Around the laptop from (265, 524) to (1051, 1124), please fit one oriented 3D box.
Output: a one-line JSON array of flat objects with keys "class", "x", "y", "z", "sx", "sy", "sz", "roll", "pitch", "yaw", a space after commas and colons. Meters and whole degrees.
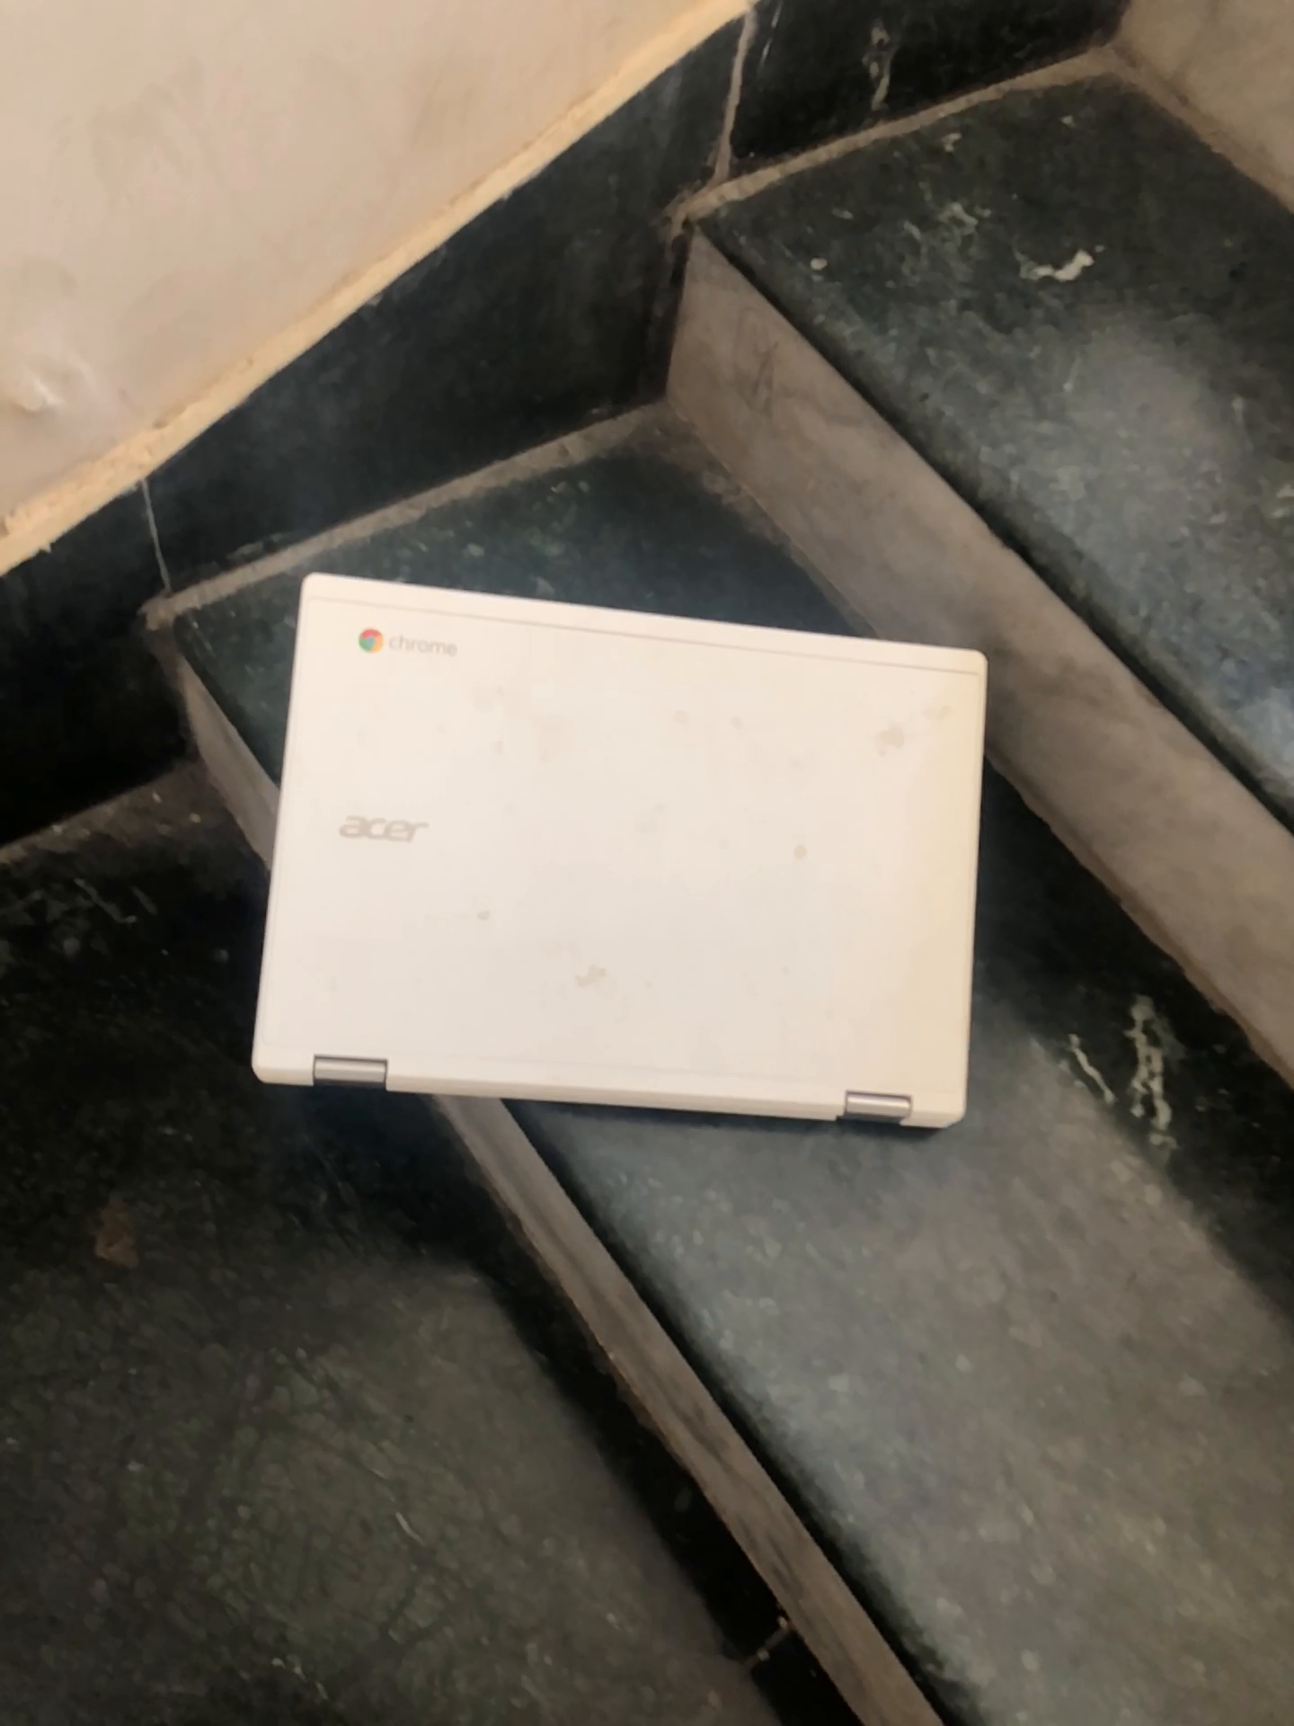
[{"class": "laptop", "x": 0.001, "y": -0.011, "z": 0.576, "sx": 0.282, "sy": 0.091, "sz": 0.190, "roll": 5, "pitch": 64, "yaw": -10}]
